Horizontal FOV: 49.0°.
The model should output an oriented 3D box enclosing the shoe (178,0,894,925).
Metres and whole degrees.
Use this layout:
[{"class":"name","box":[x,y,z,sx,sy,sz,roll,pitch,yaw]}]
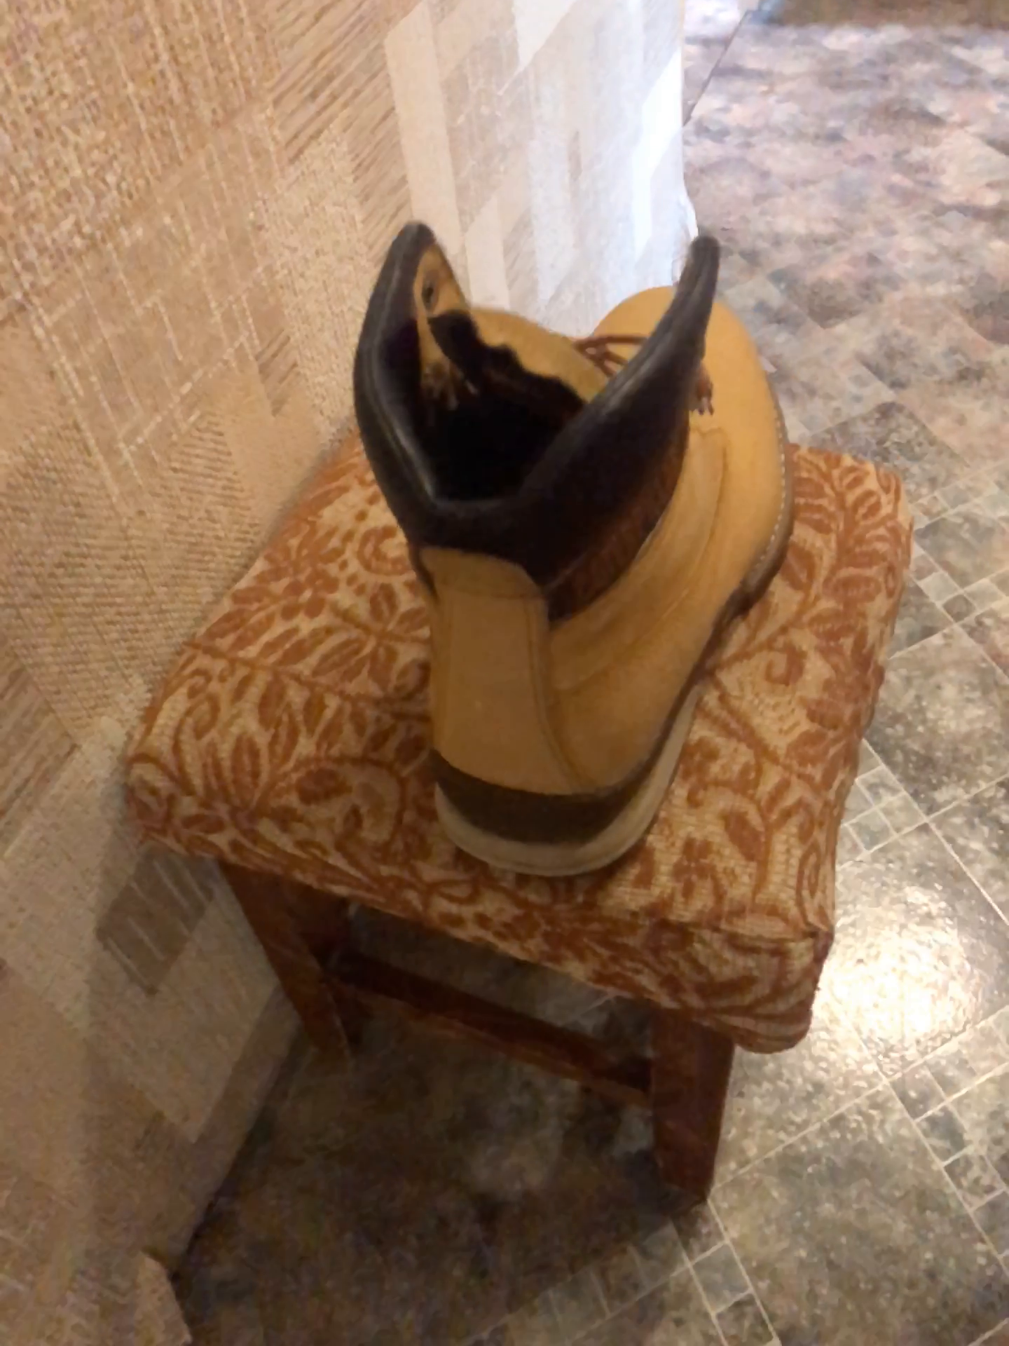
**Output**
[{"class":"shoe","box":[0.039,-0.095,0.413,0.130,0.189,0.291,13,53,17]}]
